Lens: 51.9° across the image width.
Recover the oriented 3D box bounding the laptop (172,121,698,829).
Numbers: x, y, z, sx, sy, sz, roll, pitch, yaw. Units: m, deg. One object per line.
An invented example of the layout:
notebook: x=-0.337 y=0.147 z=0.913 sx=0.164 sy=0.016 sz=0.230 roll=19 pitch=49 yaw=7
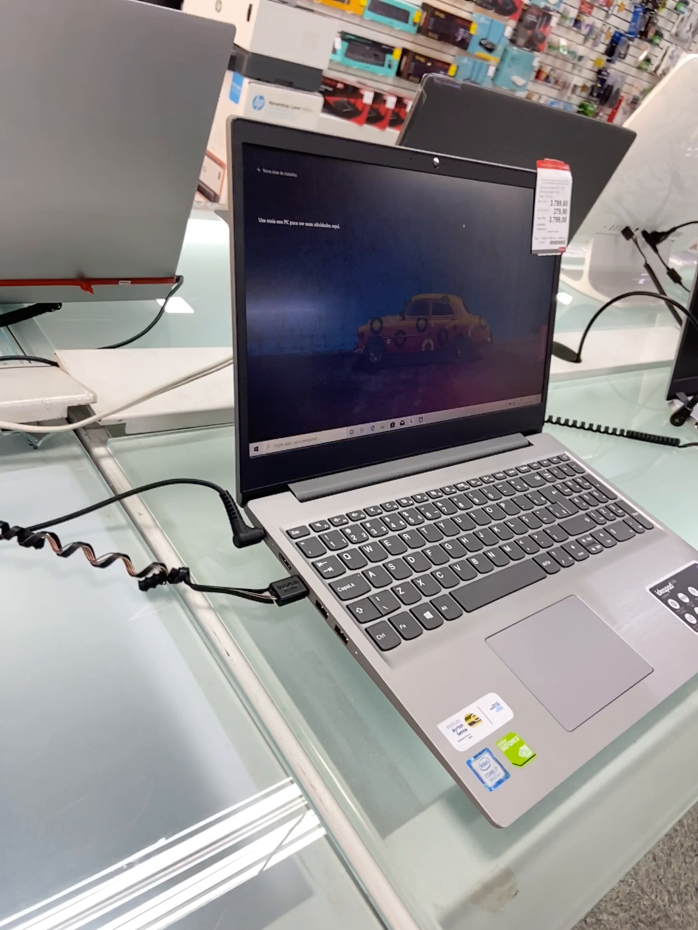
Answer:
laptop: x=0.140 y=-0.042 z=0.508 sx=0.365 sy=0.213 sz=0.360 roll=-11 pitch=45 yaw=-40
